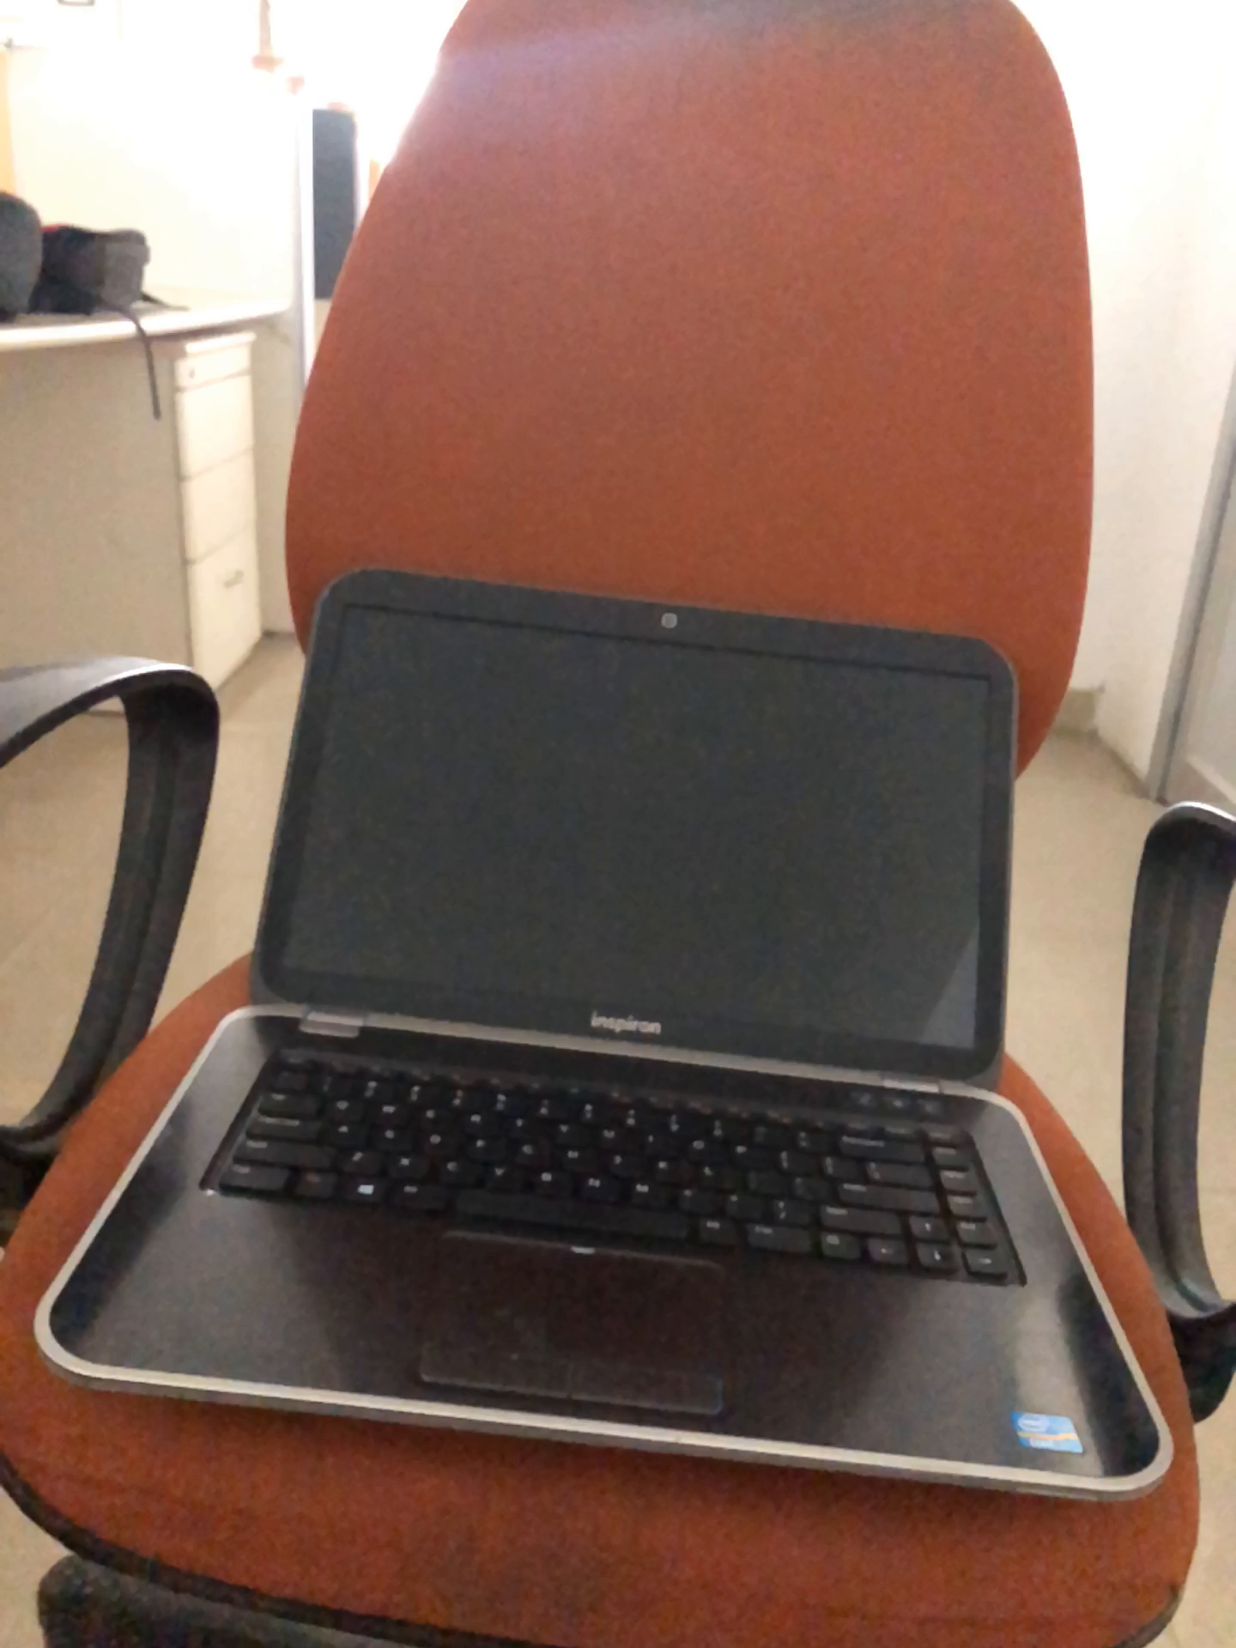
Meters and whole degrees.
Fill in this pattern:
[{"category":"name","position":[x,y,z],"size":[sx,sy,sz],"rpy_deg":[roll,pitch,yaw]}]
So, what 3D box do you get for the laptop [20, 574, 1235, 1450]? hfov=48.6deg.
[{"category":"laptop","position":[0.004,0.035,0.583],"size":[0.352,0.173,0.352],"rpy_deg":[5,23,3]}]
